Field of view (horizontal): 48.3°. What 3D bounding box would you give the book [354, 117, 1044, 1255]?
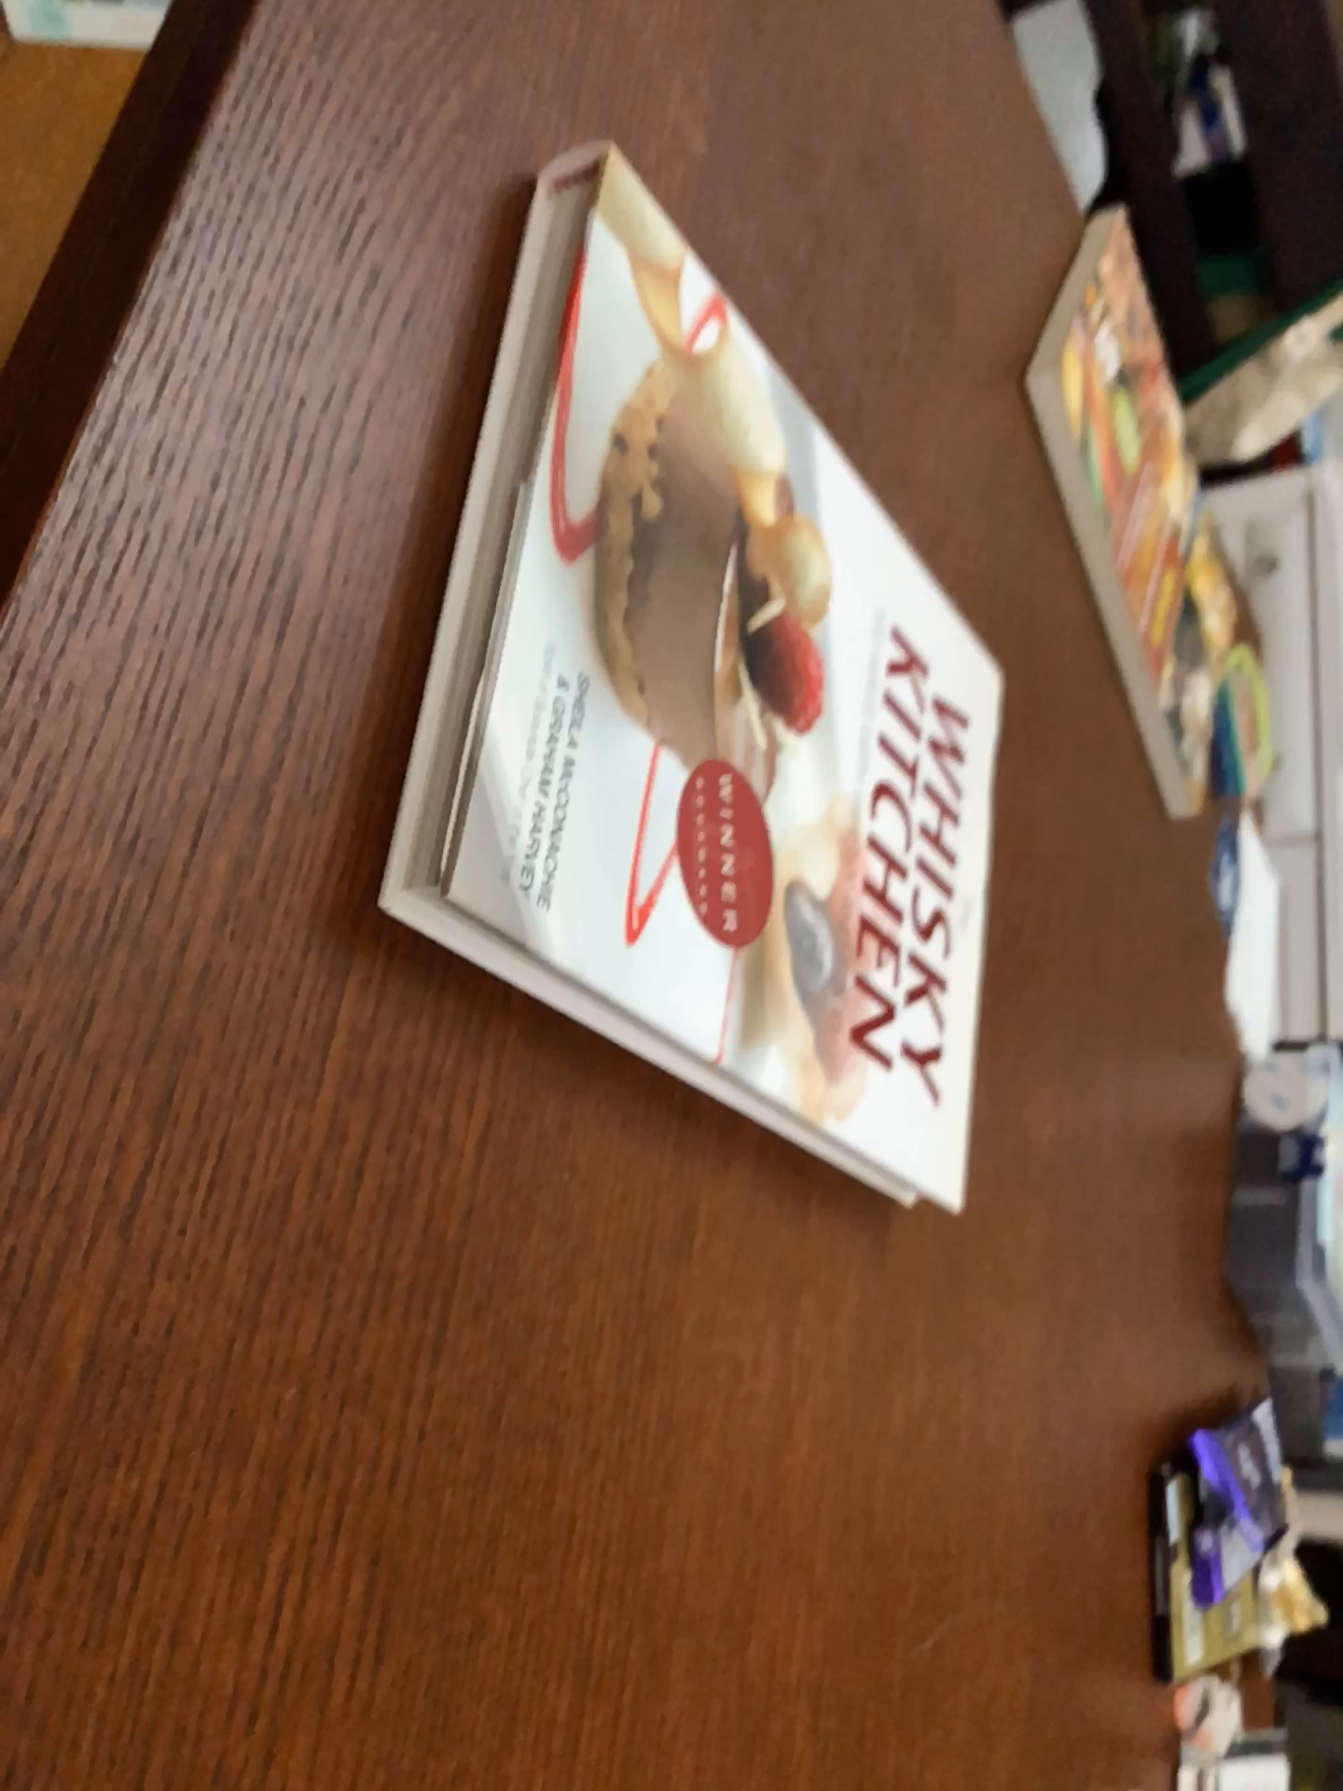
[{"bbox_3d":[0.039,-0.035,0.437,0.271,0.040,0.220,37,54,-48],"label":"book"}]
